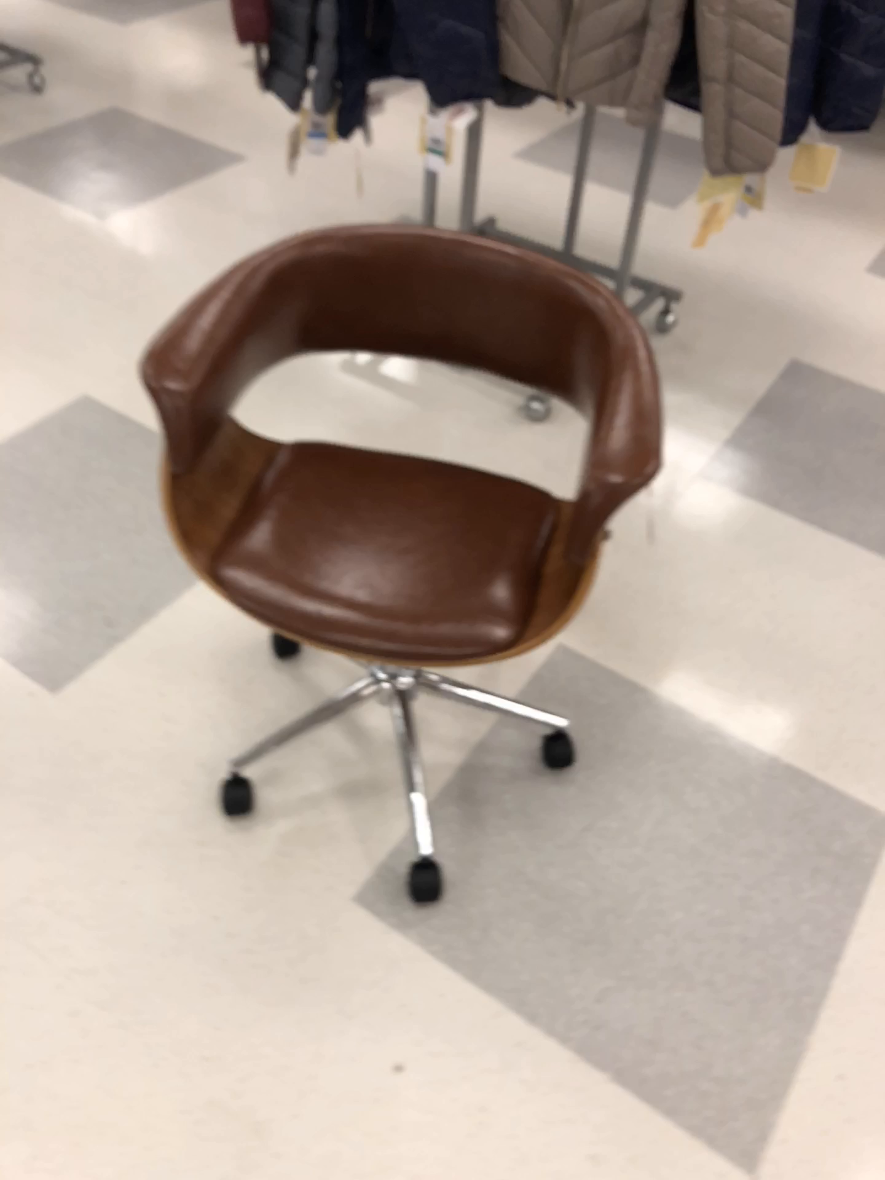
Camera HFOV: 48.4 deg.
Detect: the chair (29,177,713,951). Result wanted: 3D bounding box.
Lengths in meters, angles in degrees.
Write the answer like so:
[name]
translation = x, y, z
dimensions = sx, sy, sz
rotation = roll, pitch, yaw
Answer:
[chair]
translation = -0.042, -0.042, 1.337
dimensions = 0.588, 0.696, 0.629
rotation = 14, 45, 8
